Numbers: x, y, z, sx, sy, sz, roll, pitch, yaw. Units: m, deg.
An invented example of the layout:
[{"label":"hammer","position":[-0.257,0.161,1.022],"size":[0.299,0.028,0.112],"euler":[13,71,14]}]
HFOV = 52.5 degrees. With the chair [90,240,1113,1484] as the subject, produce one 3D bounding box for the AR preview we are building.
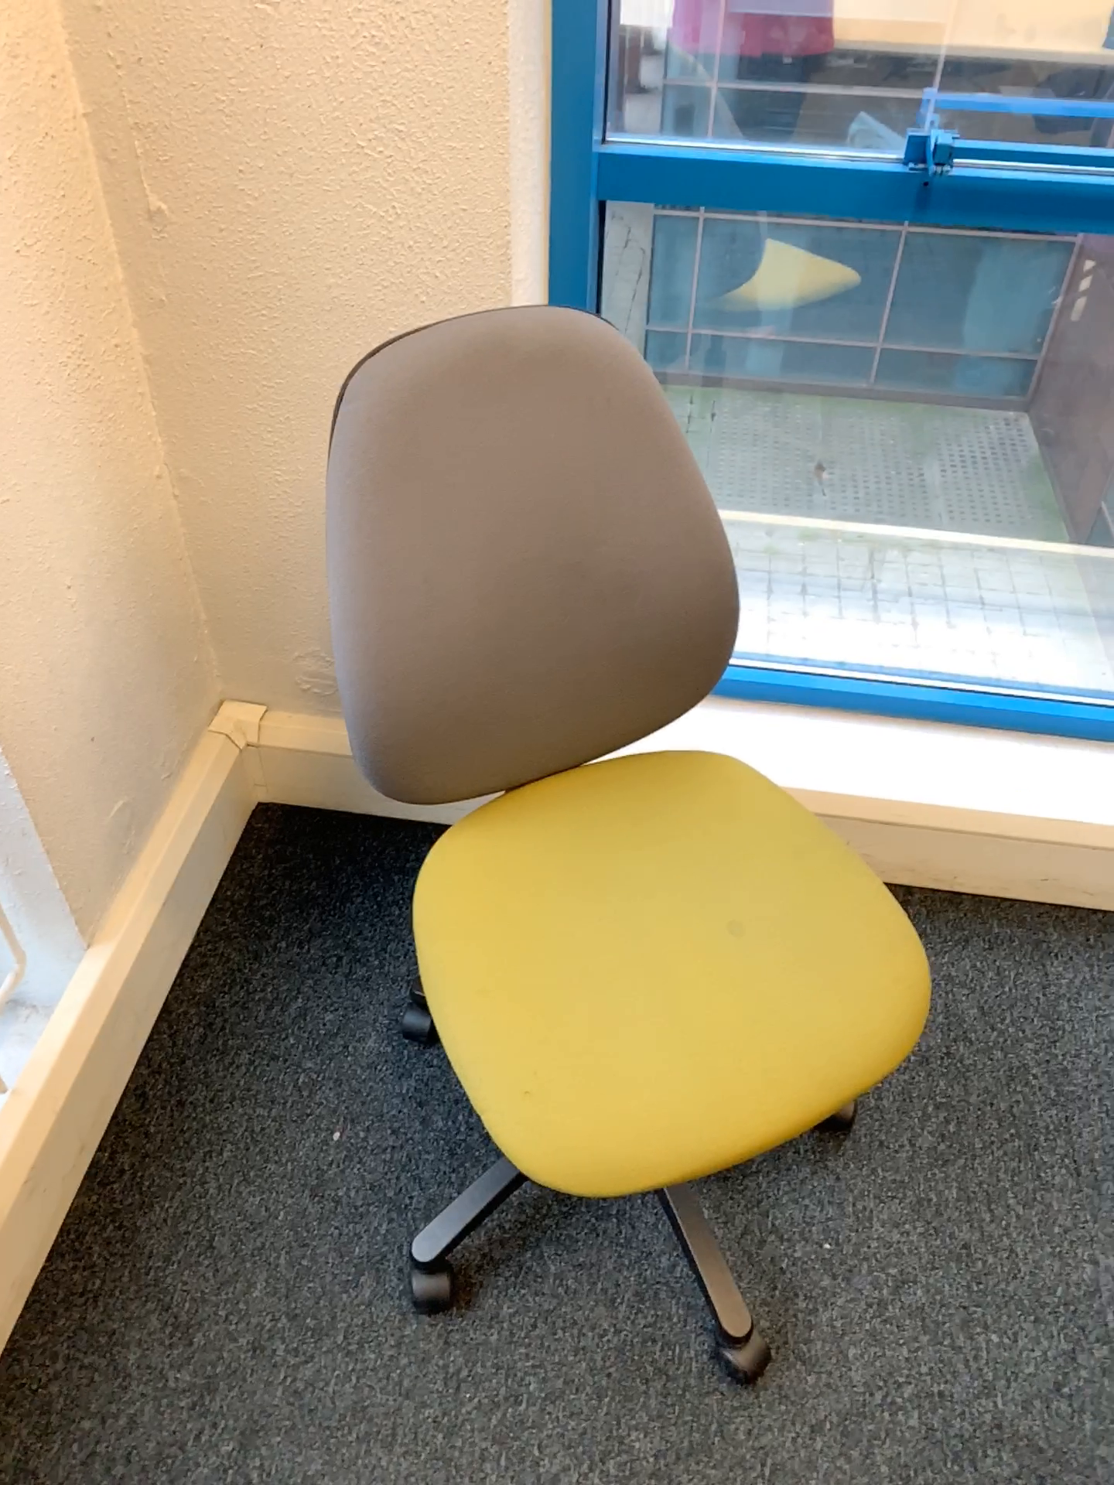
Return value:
[{"label":"chair","position":[0.088,0.131,1.091],"size":[0.694,0.877,0.683],"euler":[-19,46,-21]}]
